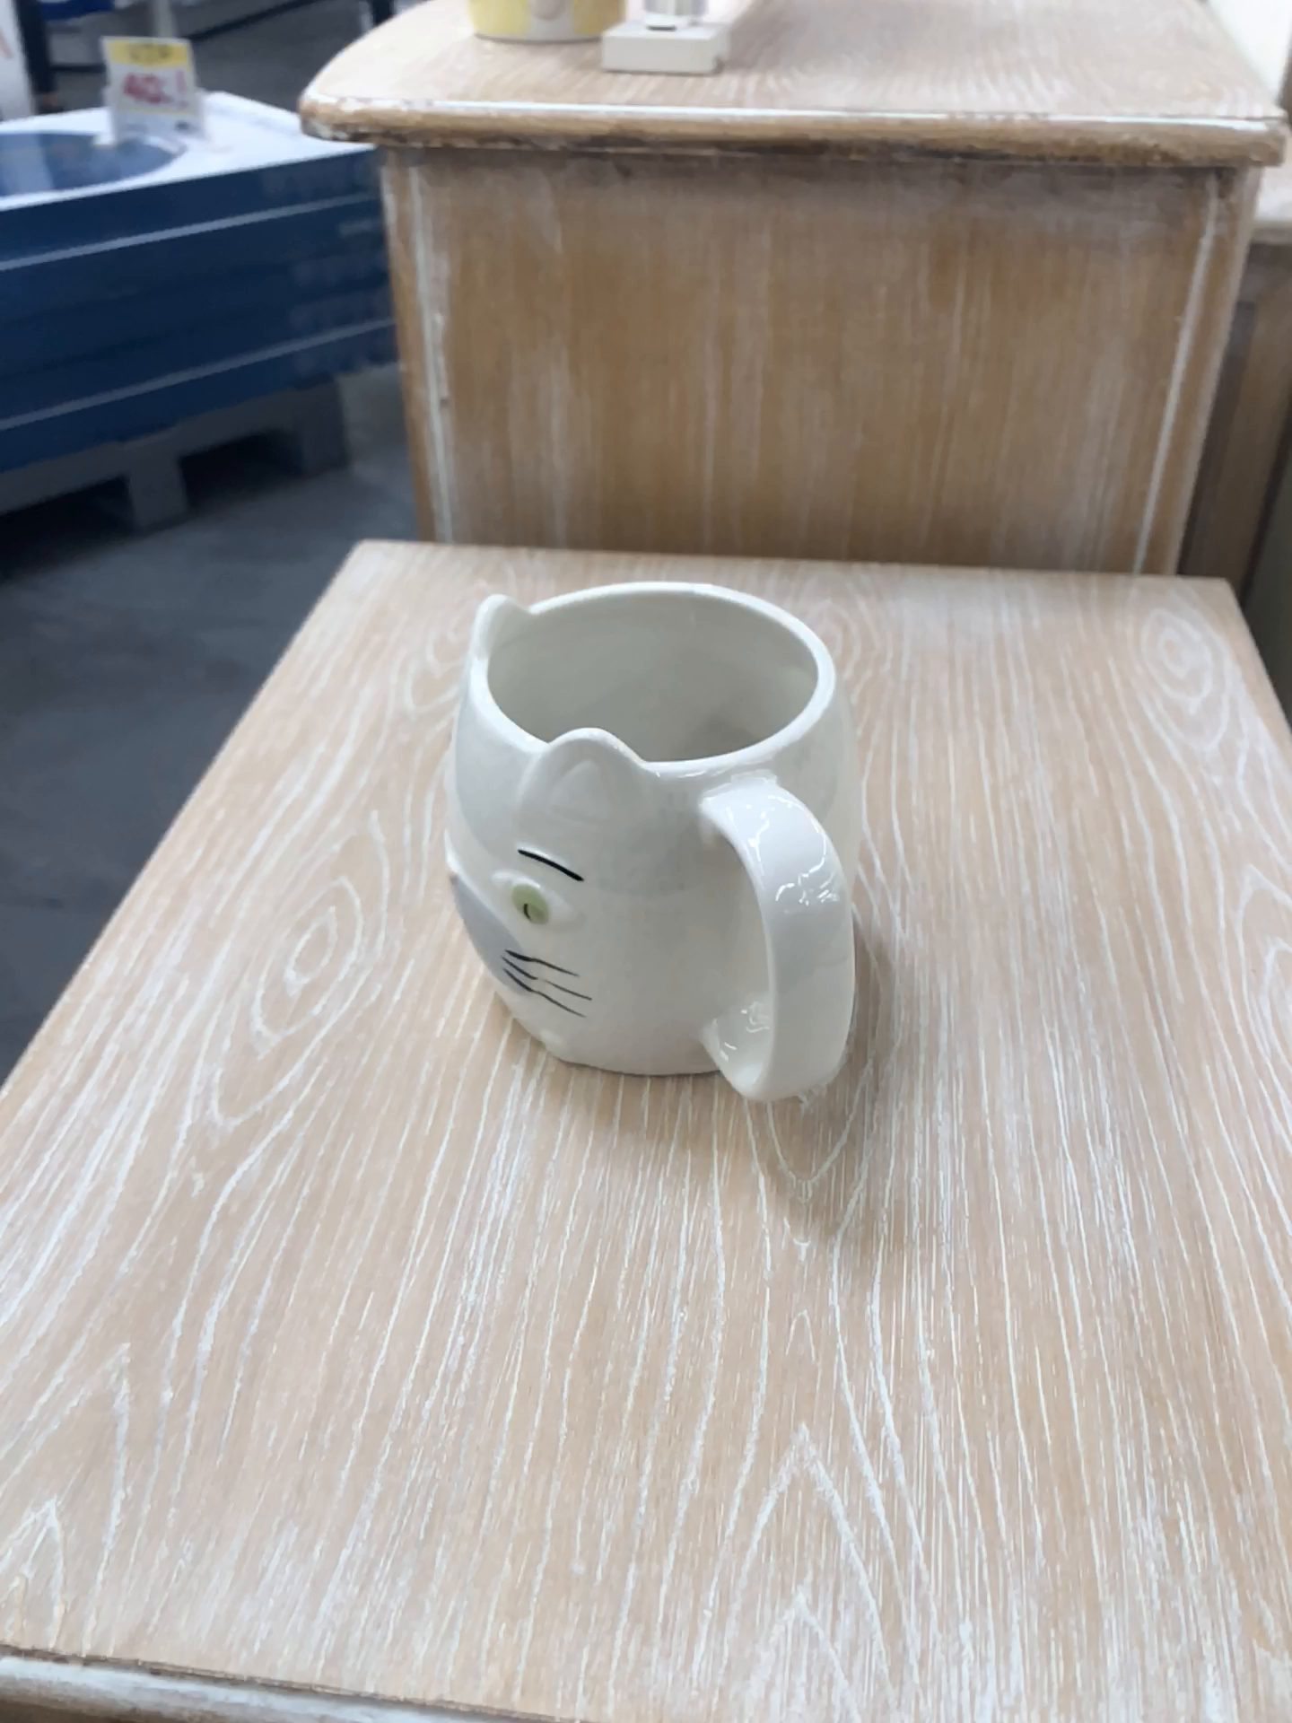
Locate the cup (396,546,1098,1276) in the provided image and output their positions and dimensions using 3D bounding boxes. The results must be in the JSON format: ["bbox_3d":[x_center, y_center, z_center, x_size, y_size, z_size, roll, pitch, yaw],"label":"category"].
[{"bbox_3d":[0.016,0.002,0.310,0.092,0.073,0.125,-21,41,-17],"label":"cup"}]
